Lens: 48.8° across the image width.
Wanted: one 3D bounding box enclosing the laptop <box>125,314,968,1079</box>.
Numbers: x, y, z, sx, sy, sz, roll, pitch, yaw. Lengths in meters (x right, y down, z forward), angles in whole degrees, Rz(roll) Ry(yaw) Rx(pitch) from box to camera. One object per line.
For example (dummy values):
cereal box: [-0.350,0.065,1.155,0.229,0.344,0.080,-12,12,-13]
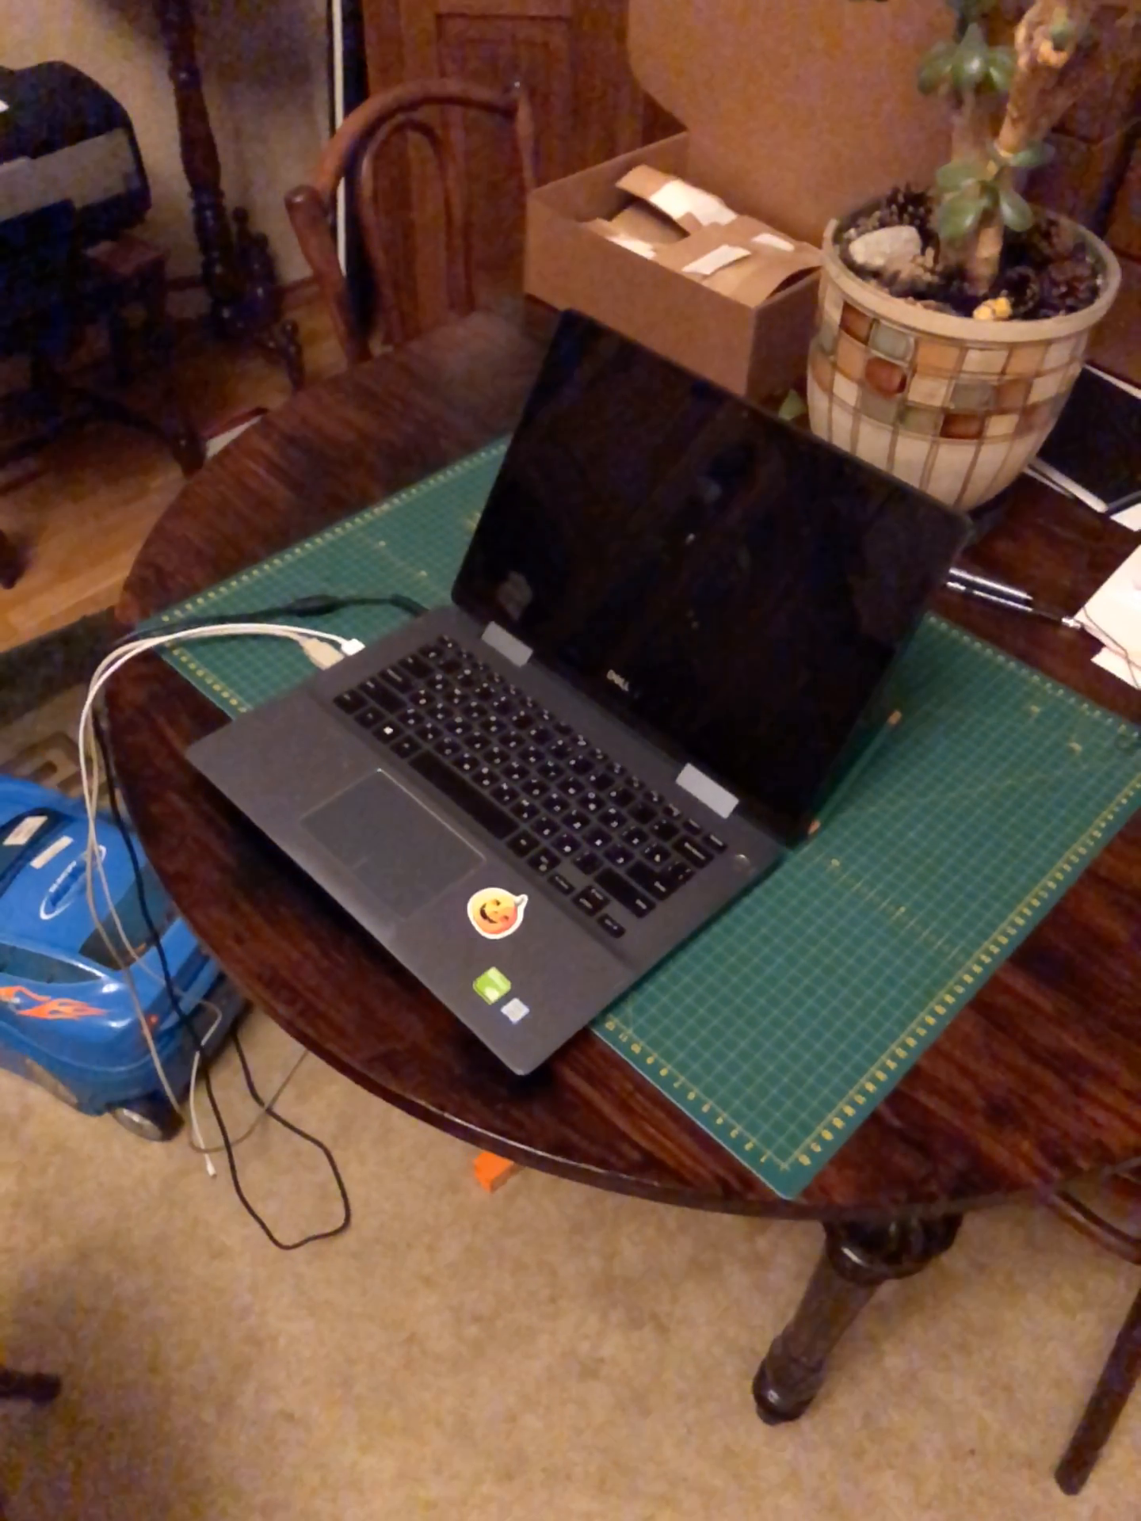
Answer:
laptop: [-0.013,-0.066,0.760,0.338,0.192,0.321,-35,57,-30]
